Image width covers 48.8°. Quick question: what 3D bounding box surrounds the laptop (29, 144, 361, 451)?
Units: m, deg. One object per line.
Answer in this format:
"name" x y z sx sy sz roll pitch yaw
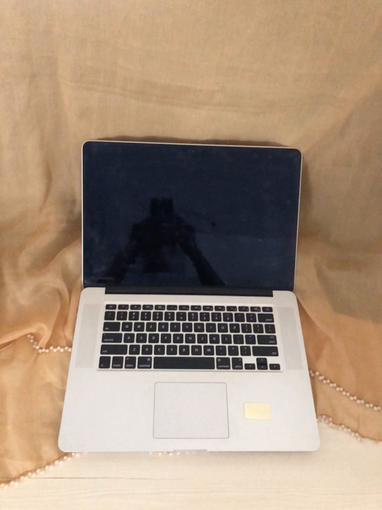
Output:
"laptop" 0.003 0.043 0.592 0.336 0.135 0.407 1 58 -3
